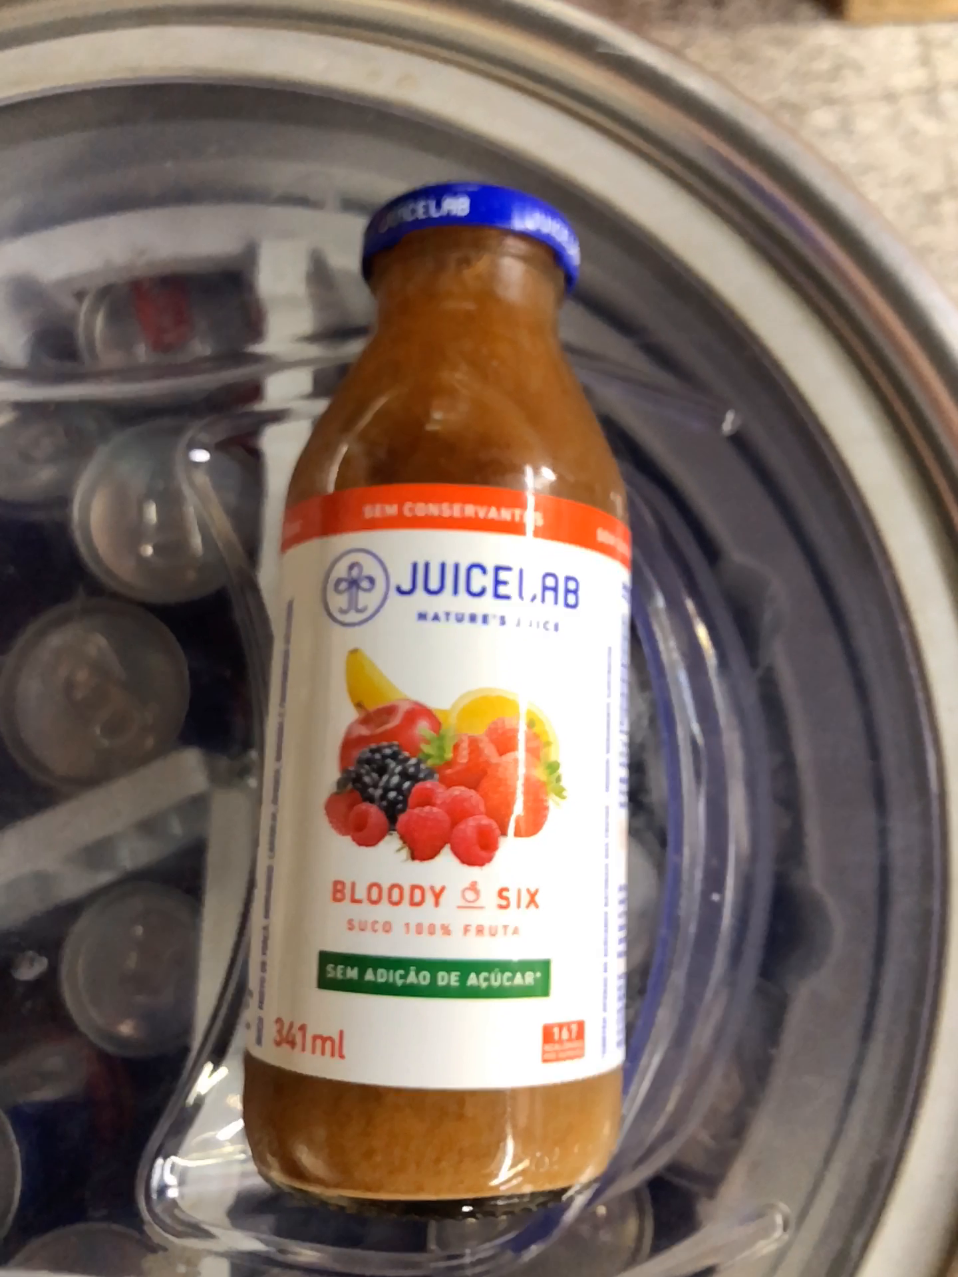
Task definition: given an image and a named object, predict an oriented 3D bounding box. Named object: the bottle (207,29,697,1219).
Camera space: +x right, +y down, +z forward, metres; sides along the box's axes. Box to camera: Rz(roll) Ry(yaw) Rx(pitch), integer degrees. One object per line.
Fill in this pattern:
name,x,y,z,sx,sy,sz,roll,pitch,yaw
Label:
bottle,-0.004,-0.005,0.204,0.070,0.060,0.190,3,78,-7
